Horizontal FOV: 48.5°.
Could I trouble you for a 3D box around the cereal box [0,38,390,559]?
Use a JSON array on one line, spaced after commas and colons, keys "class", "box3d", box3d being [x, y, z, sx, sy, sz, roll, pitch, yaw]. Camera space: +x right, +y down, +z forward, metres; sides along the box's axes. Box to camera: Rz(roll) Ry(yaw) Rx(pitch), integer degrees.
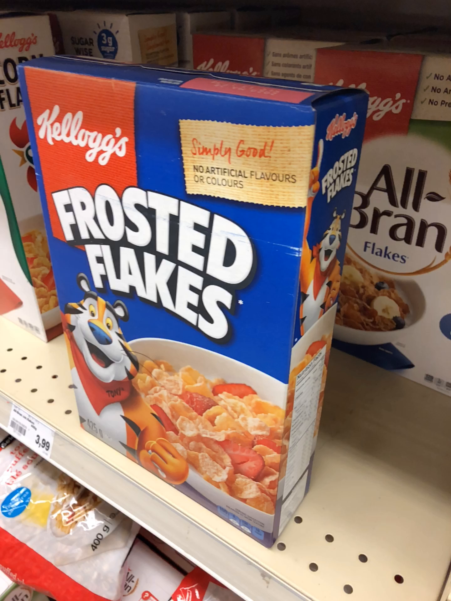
[{"class": "cereal box", "box3d": [-0.034, -0.004, 0.318, 0.211, 0.278, 0.060, 21, 35, 31]}]
